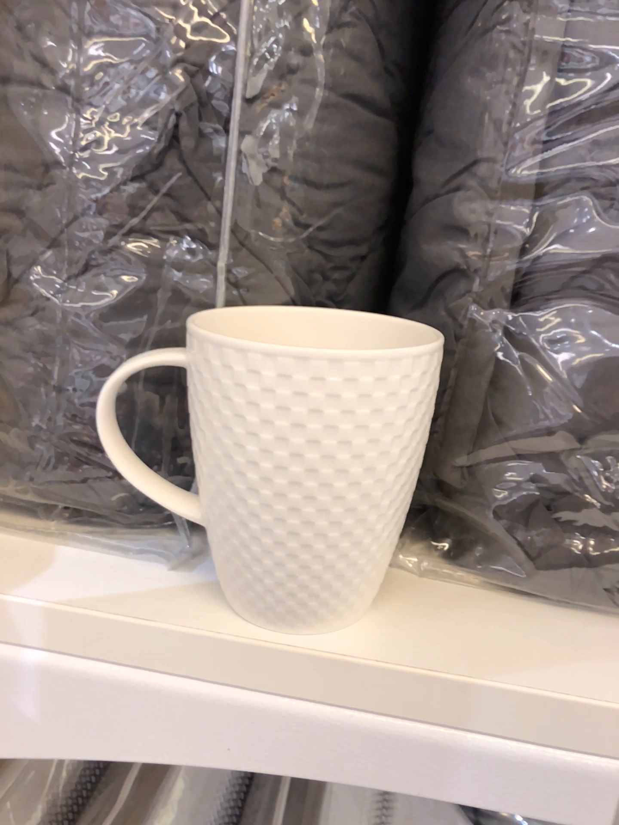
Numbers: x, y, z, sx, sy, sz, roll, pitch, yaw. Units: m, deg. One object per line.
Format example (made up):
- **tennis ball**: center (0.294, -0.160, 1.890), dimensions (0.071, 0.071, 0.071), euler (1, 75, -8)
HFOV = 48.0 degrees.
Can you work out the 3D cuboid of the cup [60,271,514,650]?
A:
- **cup**: center (-0.012, 0.009, 0.217), dimensions (0.110, 0.090, 0.080), euler (2, 17, -10)
